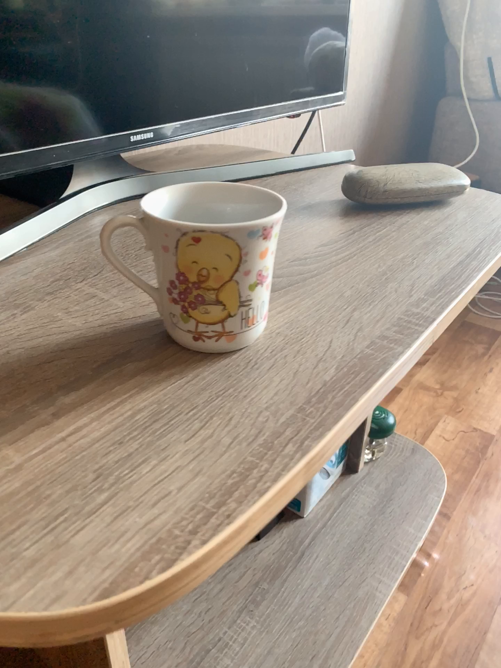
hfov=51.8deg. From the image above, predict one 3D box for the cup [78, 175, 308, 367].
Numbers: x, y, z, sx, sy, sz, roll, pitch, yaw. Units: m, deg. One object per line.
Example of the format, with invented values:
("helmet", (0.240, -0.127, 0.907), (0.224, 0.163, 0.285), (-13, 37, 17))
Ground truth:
("cup", (-0.034, -0.040, 0.294), (0.110, 0.080, 0.070), (-6, 30, -13))
